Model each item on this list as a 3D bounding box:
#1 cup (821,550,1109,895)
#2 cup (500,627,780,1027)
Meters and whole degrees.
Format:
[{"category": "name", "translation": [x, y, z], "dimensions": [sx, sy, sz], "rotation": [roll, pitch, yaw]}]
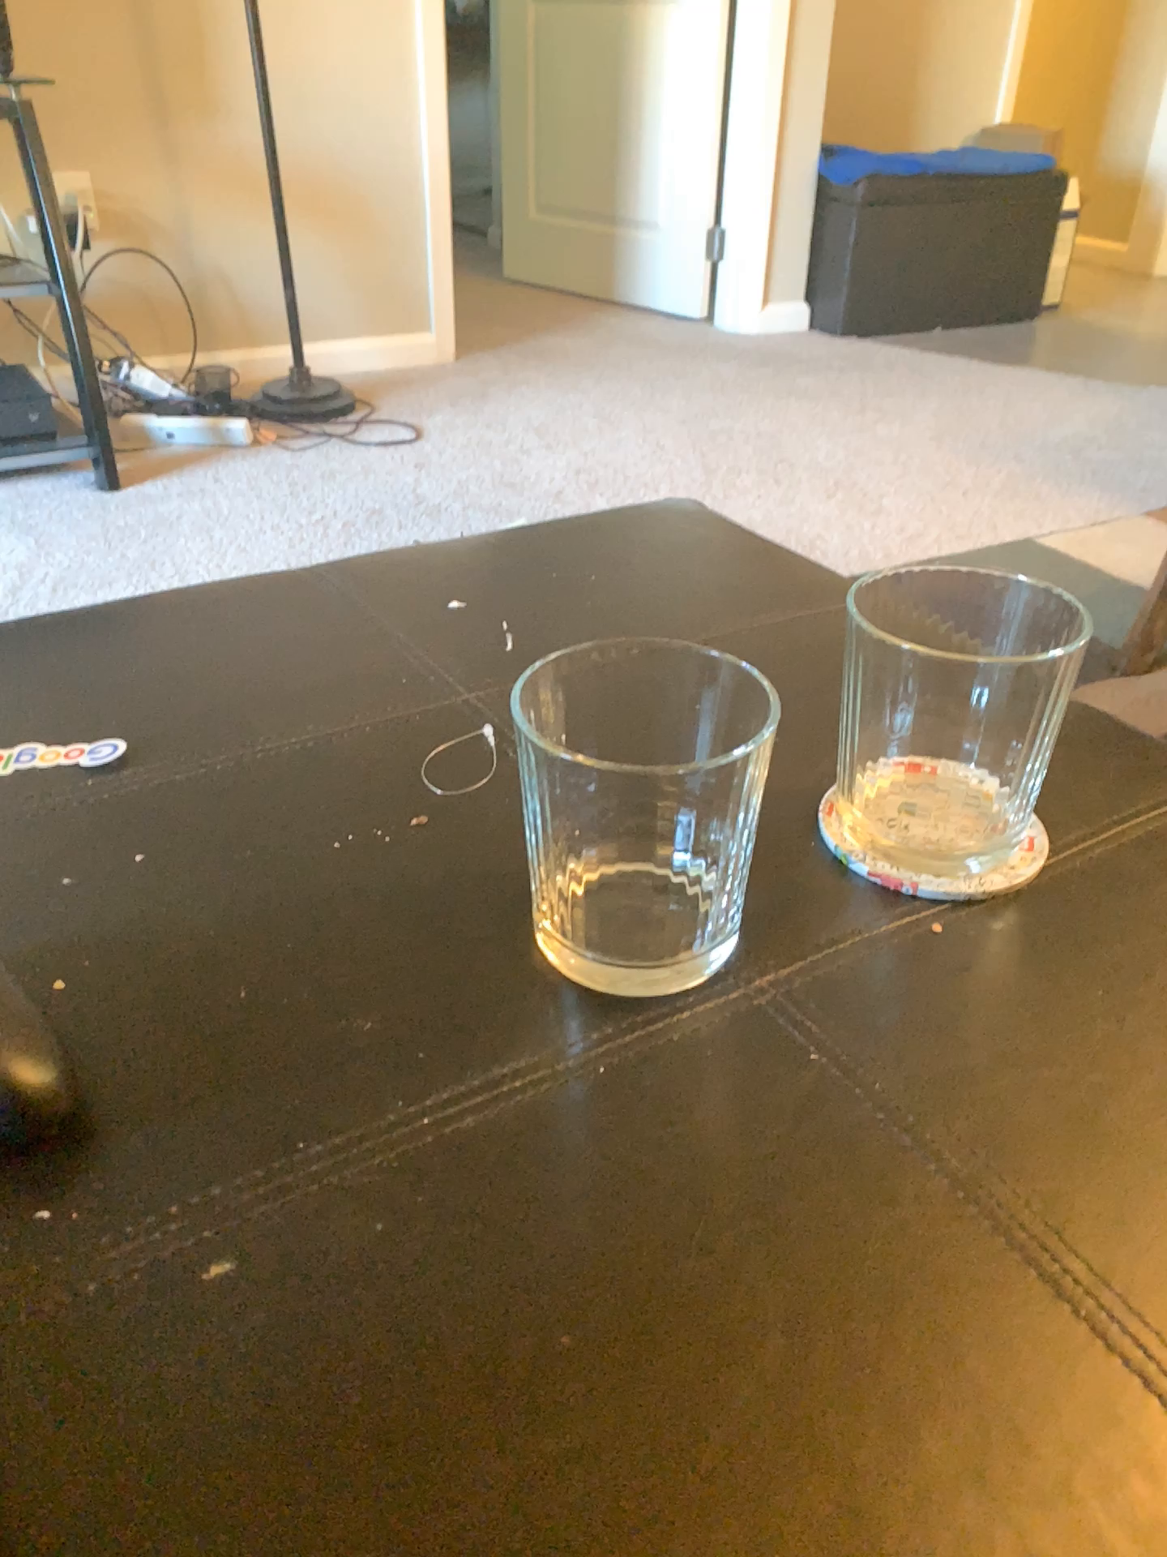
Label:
[{"category": "cup", "translation": [0.143, -0.024, 0.474], "dimensions": [0.080, 0.099, 0.091], "rotation": [4, 32, 5]}, {"category": "cup", "translation": [0.019, 0.014, 0.401], "dimensions": [0.080, 0.099, 0.080], "rotation": [1, 32, -1]}]
